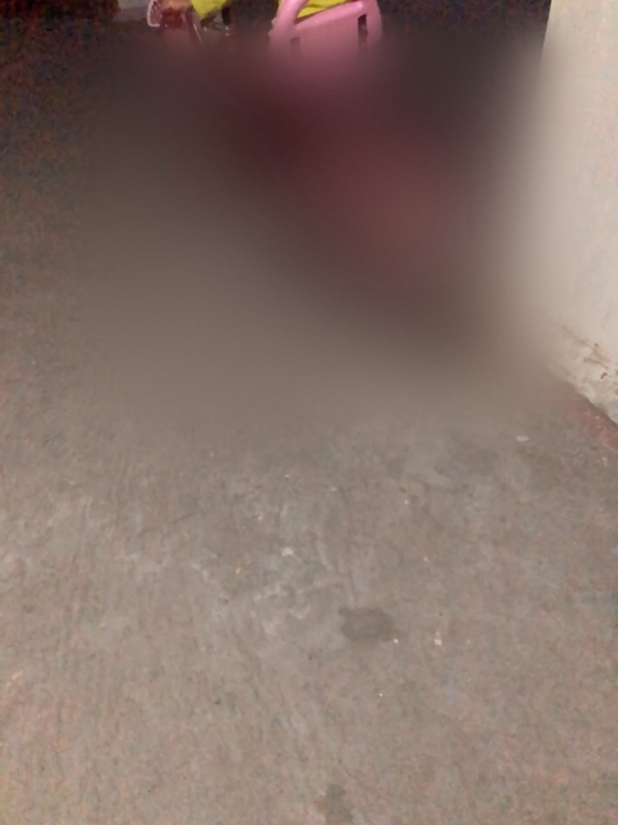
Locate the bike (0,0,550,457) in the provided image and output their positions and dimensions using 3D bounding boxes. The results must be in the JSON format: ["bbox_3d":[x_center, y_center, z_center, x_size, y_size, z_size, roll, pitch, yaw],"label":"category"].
[{"bbox_3d":[-0.197,-0.690,1.657,0.495,0.910,1.281,-24,47,-24],"label":"bike"}]
